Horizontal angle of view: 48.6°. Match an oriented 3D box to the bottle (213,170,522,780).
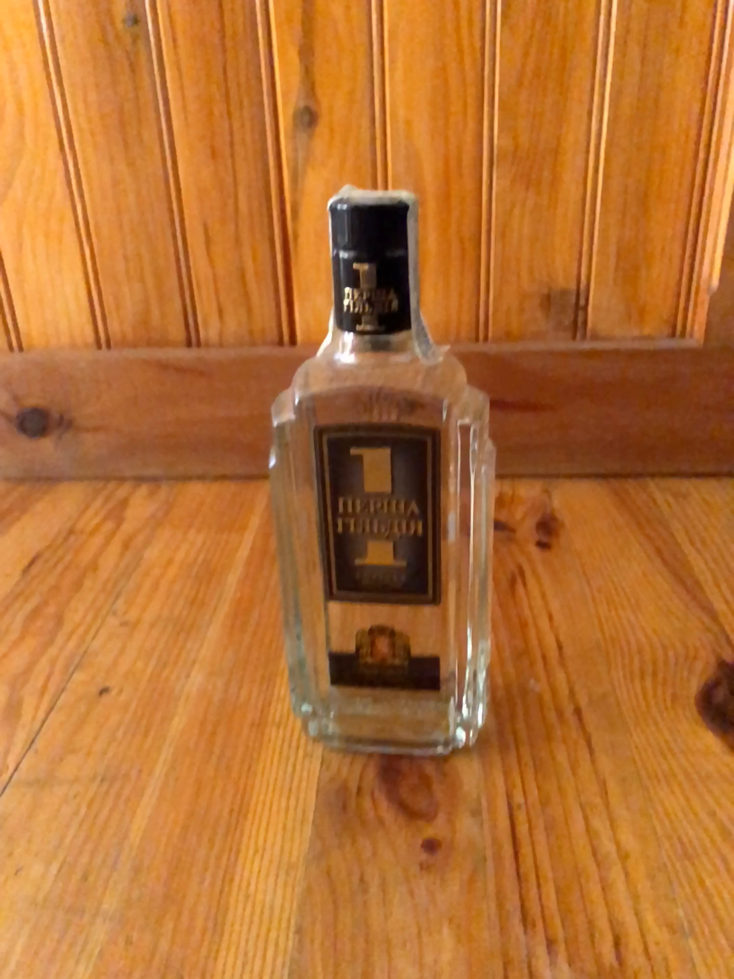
[{"bbox_3d":[0.009,0.003,0.342,0.100,0.249,0.060,2,27,10],"label":"bottle"}]
